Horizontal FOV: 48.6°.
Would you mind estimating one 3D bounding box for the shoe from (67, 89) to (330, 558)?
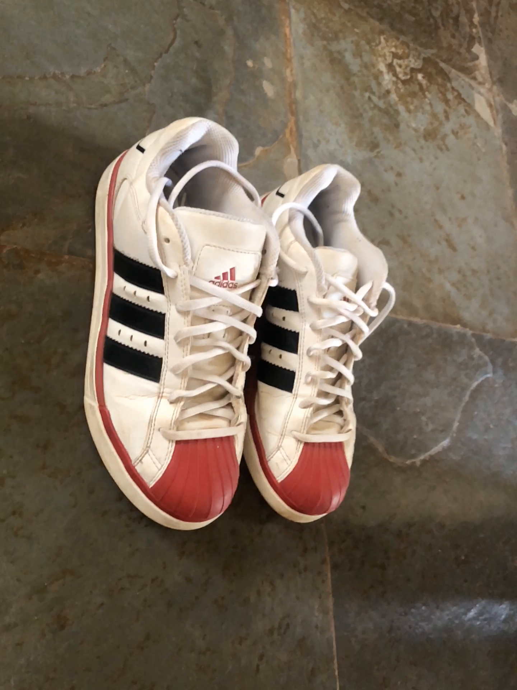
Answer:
[{"bbox_3d":[-0.053,-0.007,0.400,0.111,0.129,0.270,3,74,-36],"label":"shoe"}]

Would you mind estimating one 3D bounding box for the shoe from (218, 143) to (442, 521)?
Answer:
[{"bbox_3d":[0.050,-0.003,0.469,0.111,0.109,0.270,6,72,-35],"label":"shoe"}]
